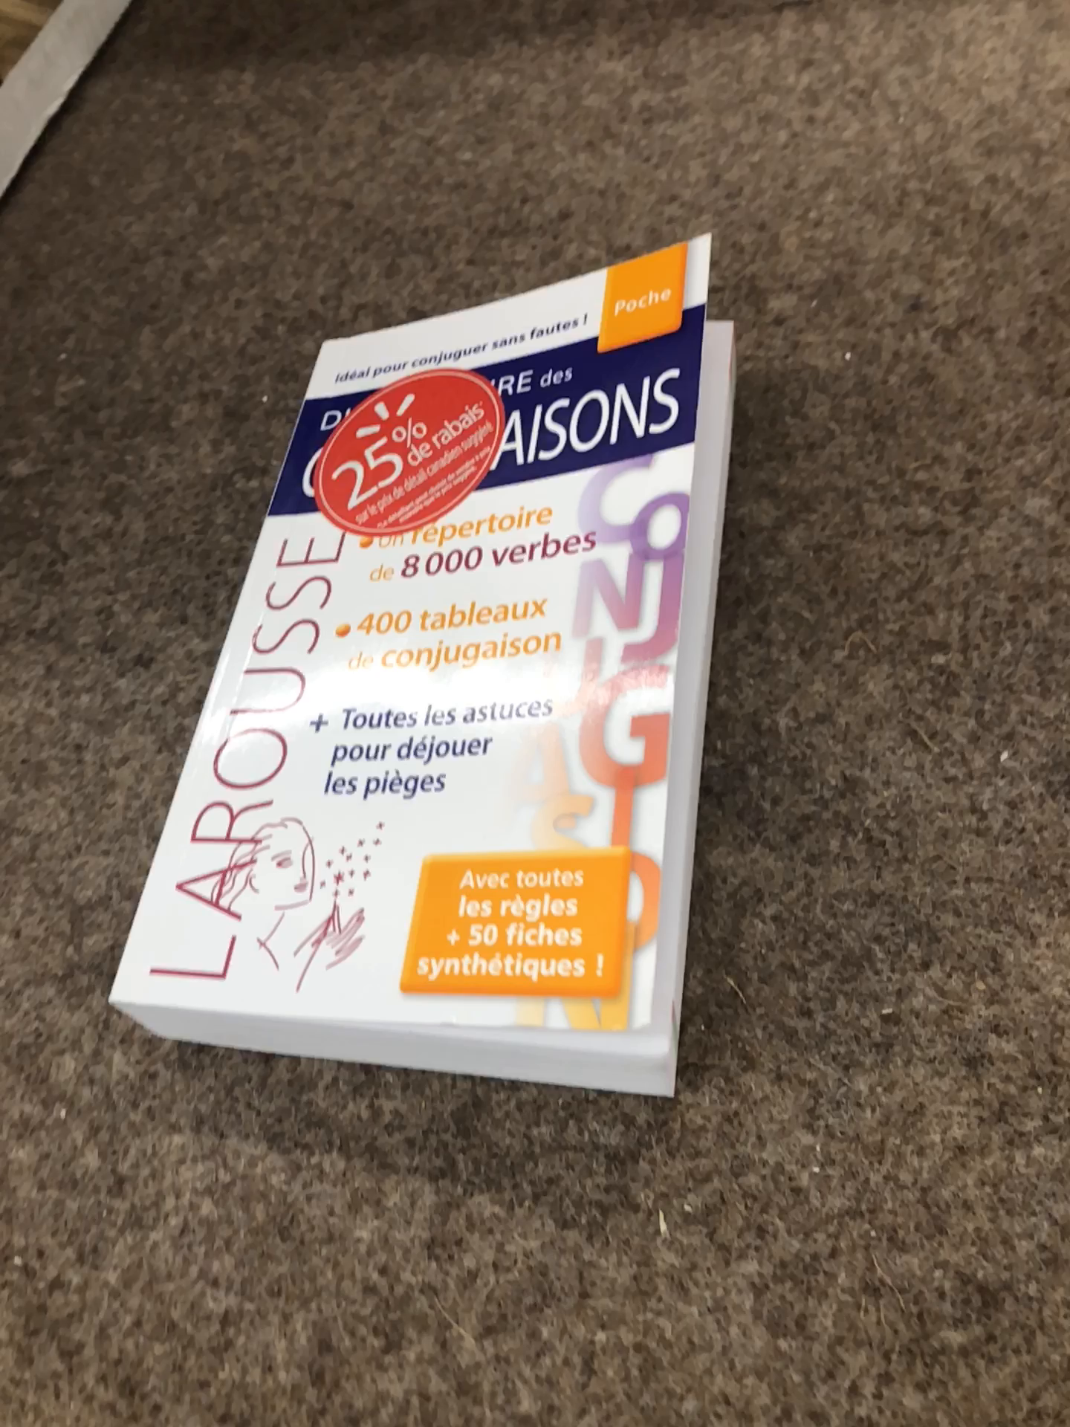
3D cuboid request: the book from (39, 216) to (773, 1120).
[{"bbox_3d":[-0.014,-0.019,0.282,0.124,0.059,0.200,0,61,16],"label":"book"}]
